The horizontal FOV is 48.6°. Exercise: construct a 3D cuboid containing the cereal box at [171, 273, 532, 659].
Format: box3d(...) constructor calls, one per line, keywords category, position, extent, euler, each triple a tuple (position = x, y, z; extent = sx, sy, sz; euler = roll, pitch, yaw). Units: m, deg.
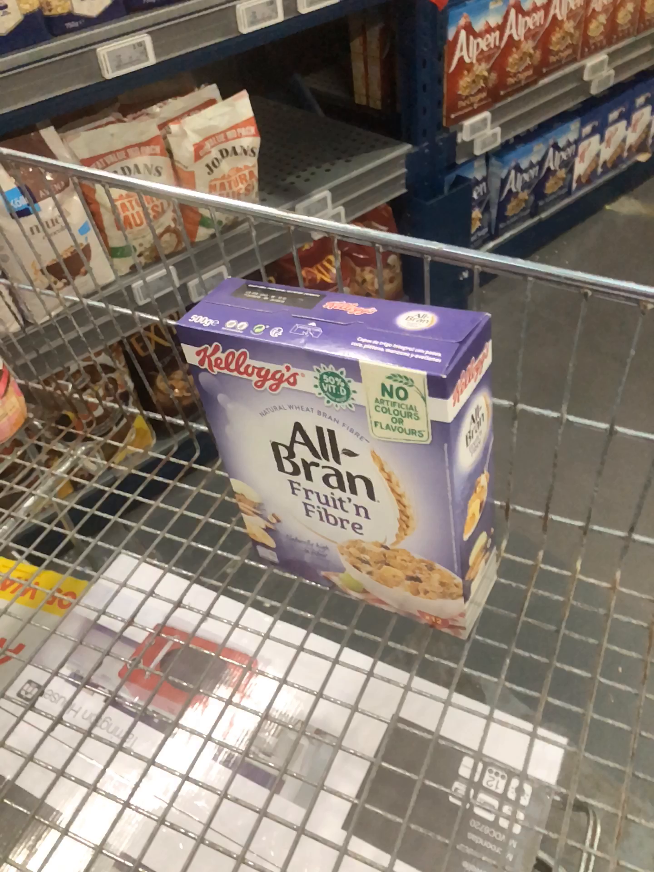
box3d(category="cereal box", position=(0.029, 0.022, 0.473), extent=(0.190, 0.229, 0.070), euler=(13, 48, 28))
